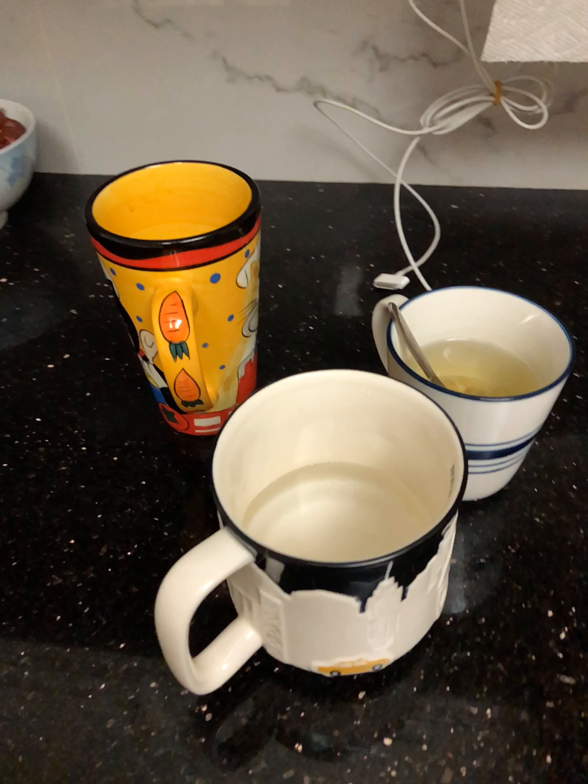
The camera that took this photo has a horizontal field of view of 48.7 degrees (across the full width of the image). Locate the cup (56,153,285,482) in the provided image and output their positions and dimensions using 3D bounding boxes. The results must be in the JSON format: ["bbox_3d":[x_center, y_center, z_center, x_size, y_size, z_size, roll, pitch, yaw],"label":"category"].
[{"bbox_3d":[-0.055,-0.041,0.359,0.090,0.129,0.121,-3,44,-1],"label":"cup"}]

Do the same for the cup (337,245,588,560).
[{"bbox_3d":[0.084,0.000,0.338,0.080,0.089,0.121,-17,45,-14],"label":"cup"}]

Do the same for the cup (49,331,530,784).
[{"bbox_3d":[0.000,0.066,0.282,0.150,0.089,0.110,-29,50,-25],"label":"cup"}]
